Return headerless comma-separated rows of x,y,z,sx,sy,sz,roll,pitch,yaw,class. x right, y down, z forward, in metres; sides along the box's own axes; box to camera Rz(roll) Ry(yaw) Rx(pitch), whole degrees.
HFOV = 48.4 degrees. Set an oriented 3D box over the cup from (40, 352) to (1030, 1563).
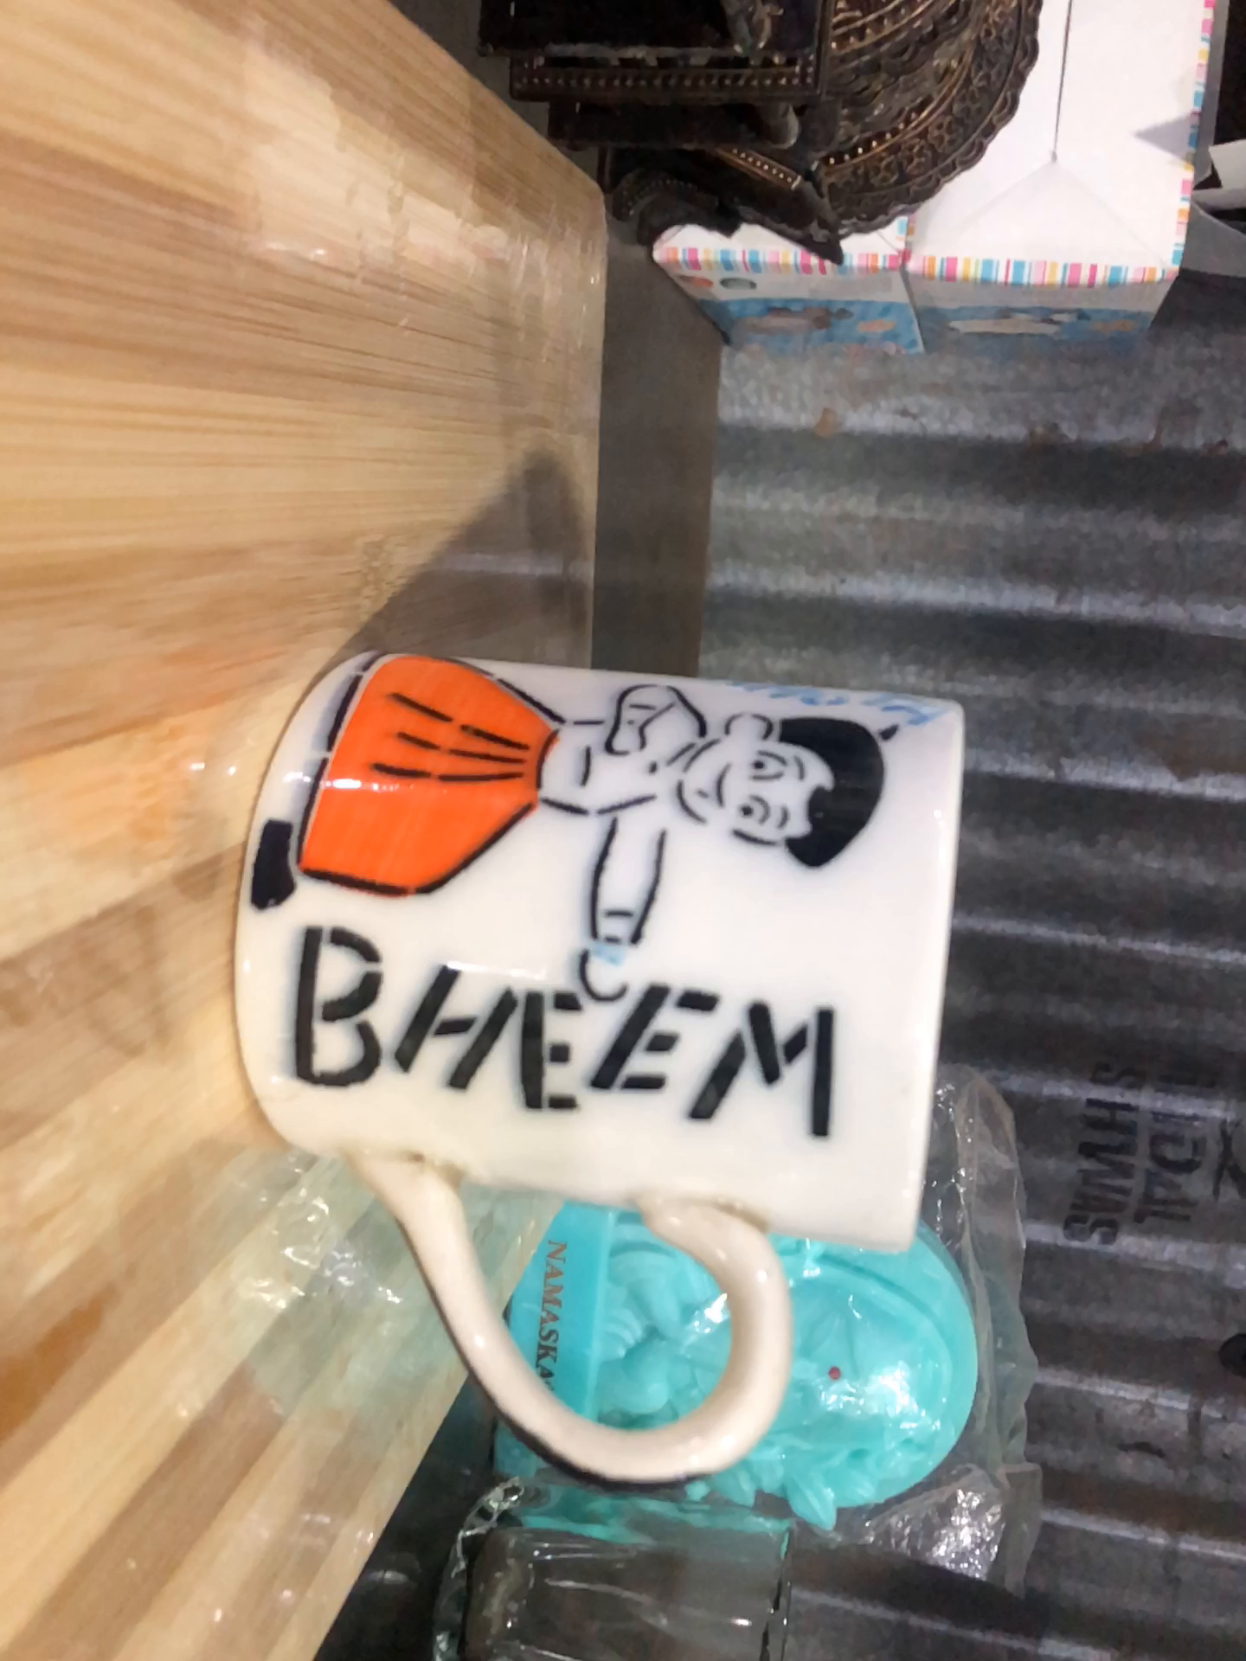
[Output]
0.003,0.020,0.187,0.100,0.080,0.120,72,26,-66,cup
